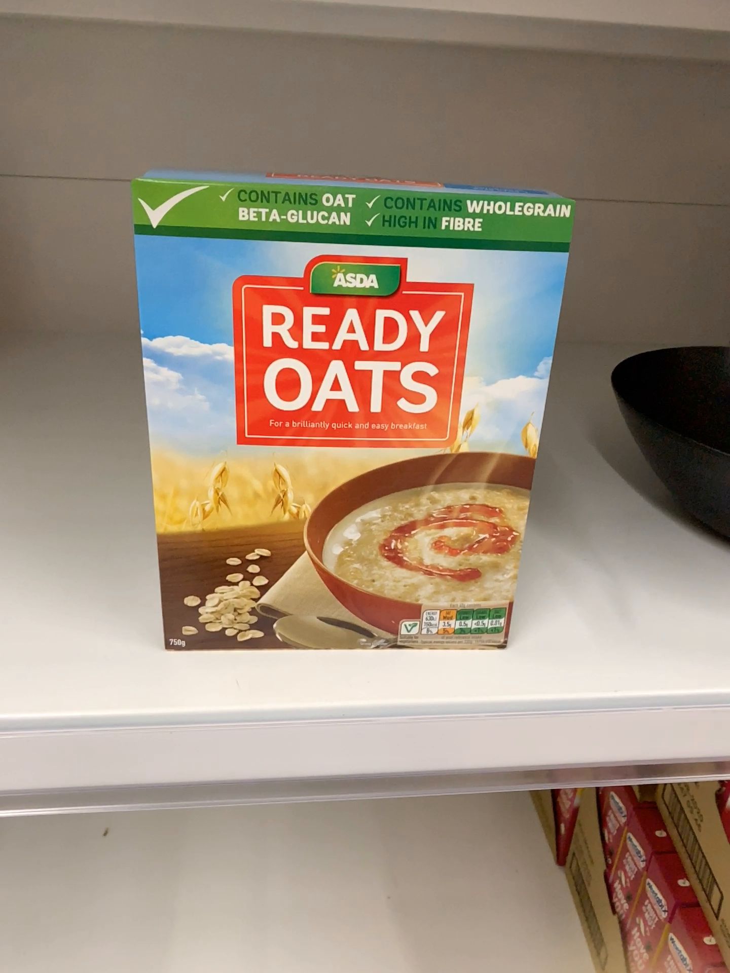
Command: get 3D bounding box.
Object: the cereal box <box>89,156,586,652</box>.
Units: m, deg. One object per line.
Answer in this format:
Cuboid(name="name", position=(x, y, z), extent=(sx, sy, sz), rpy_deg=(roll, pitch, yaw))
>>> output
Cuboid(name="cereal box", position=(-0.018, -0.038, 0.424), extent=(0.220, 0.258, 0.081), rpy_deg=(1, 26, -6))
